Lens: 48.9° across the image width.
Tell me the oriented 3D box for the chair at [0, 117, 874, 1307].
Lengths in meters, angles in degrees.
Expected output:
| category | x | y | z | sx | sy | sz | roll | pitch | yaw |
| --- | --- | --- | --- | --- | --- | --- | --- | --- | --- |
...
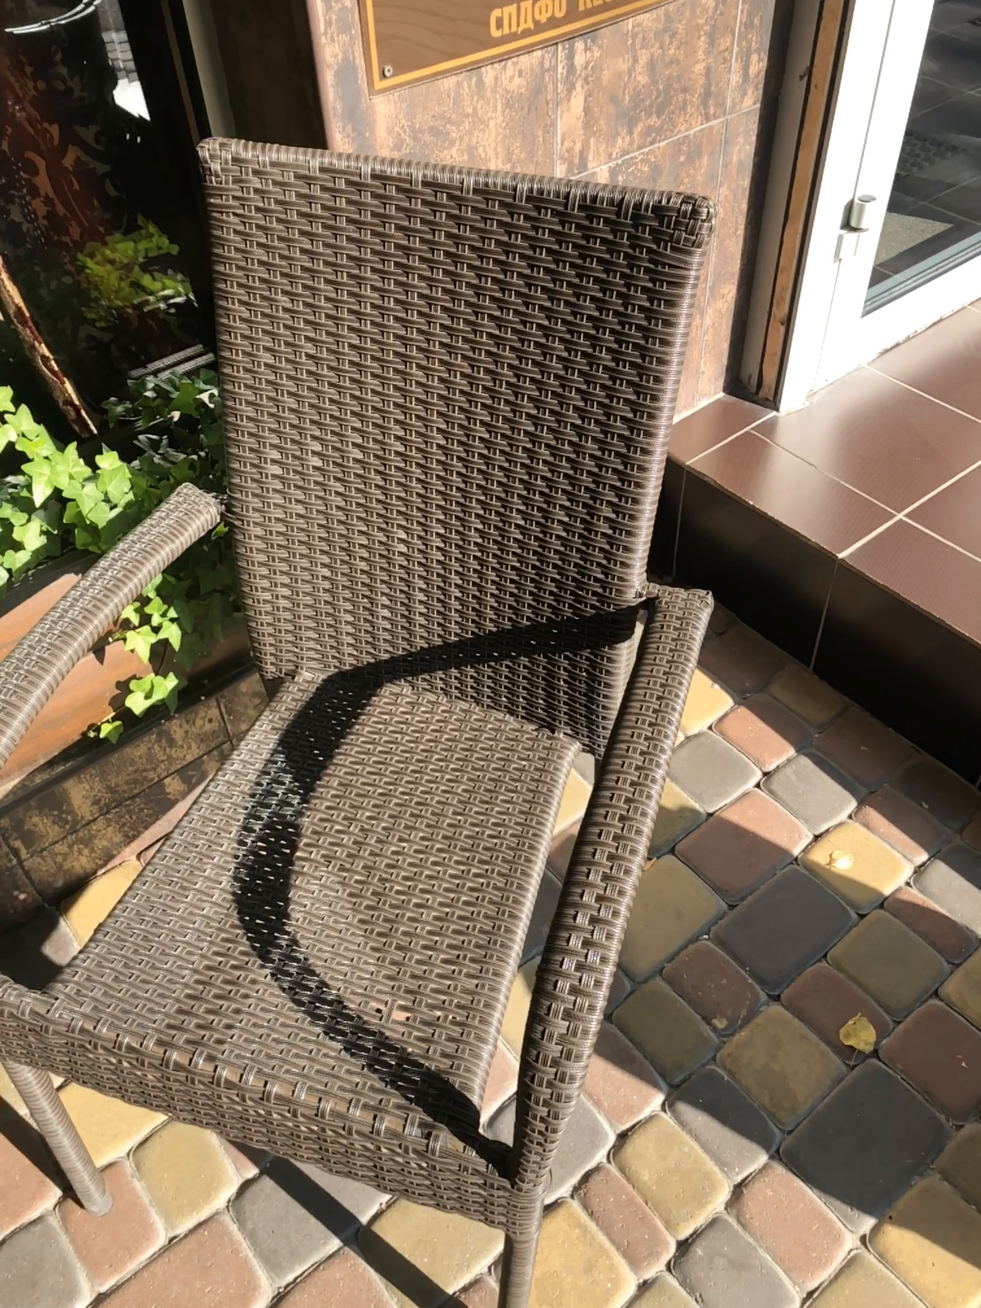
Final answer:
| category | x | y | z | sx | sy | sz | roll | pitch | yaw |
| --- | --- | --- | --- | --- | --- | --- | --- | --- | --- |
| chair | -0.084 | 0.118 | 1.038 | 0.610 | 0.906 | 0.723 | 13 | 48 | 15 |
